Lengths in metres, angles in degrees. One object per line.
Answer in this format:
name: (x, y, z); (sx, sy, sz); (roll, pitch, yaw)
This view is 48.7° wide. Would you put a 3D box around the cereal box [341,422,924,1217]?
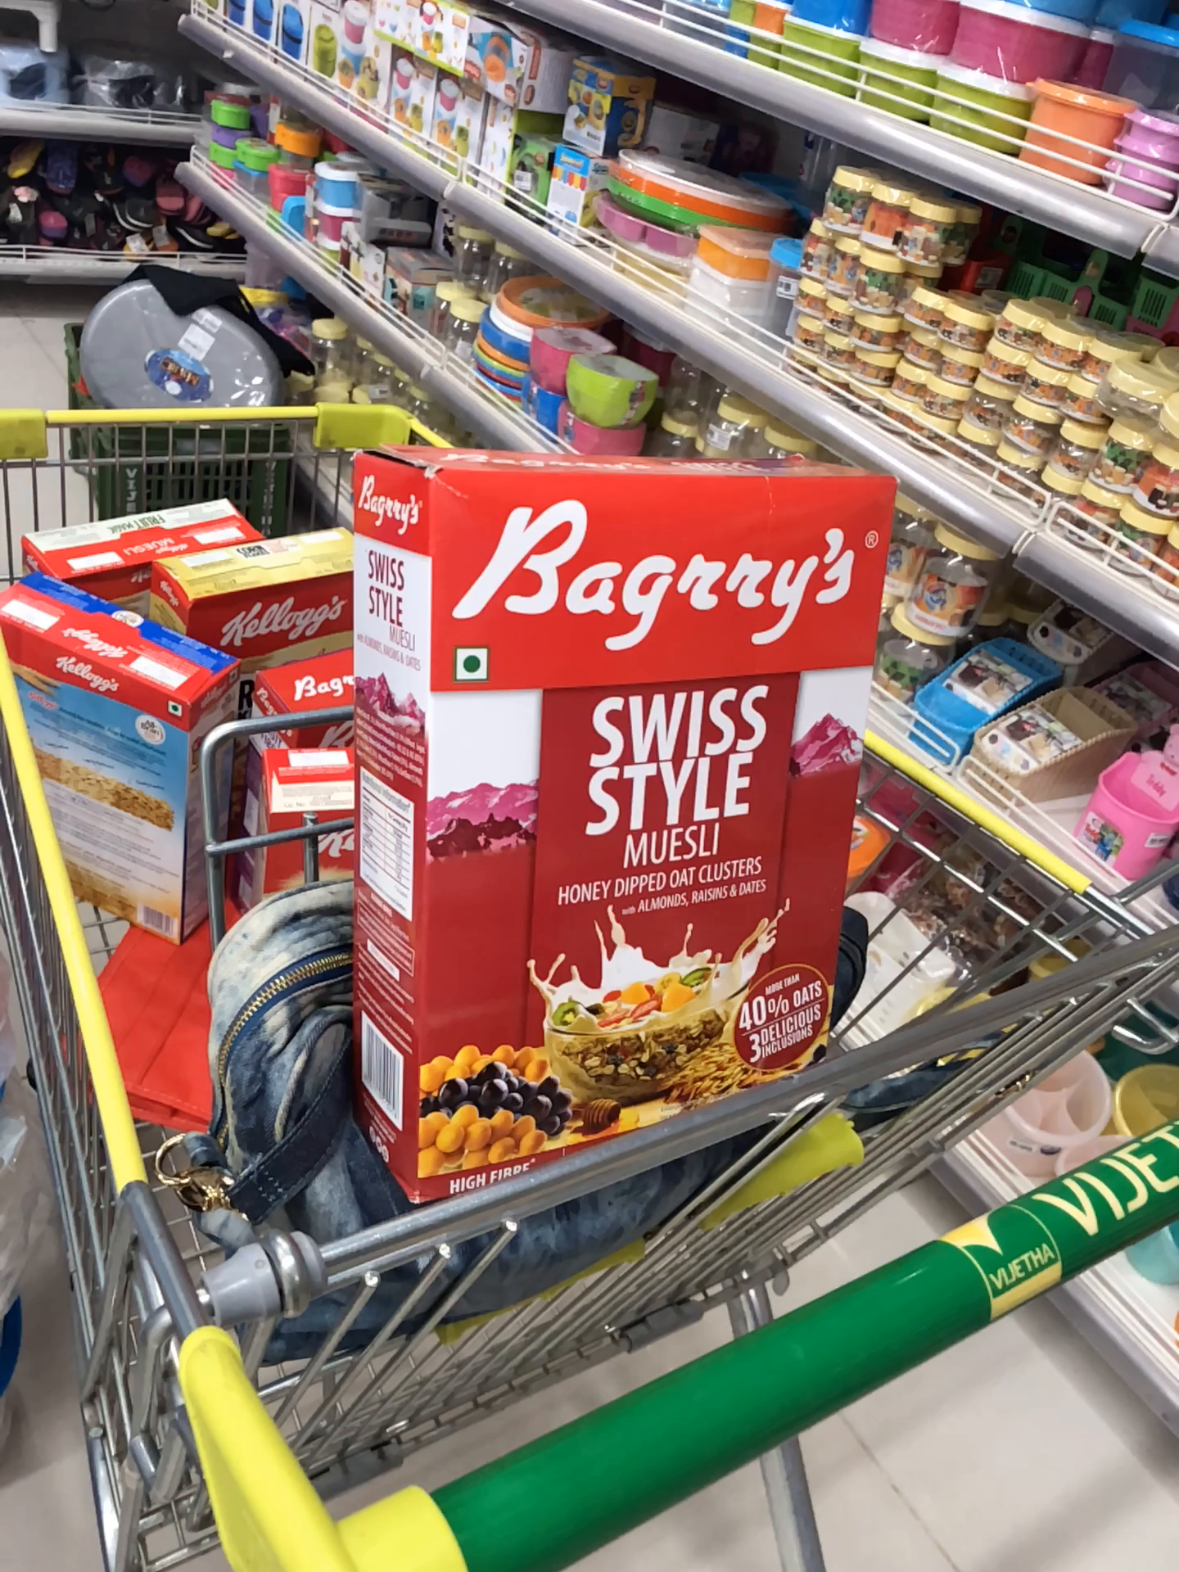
cereal box: (0.014, 0.003, 0.482); (0.190, 0.259, 0.070); (-6, 17, -27)
